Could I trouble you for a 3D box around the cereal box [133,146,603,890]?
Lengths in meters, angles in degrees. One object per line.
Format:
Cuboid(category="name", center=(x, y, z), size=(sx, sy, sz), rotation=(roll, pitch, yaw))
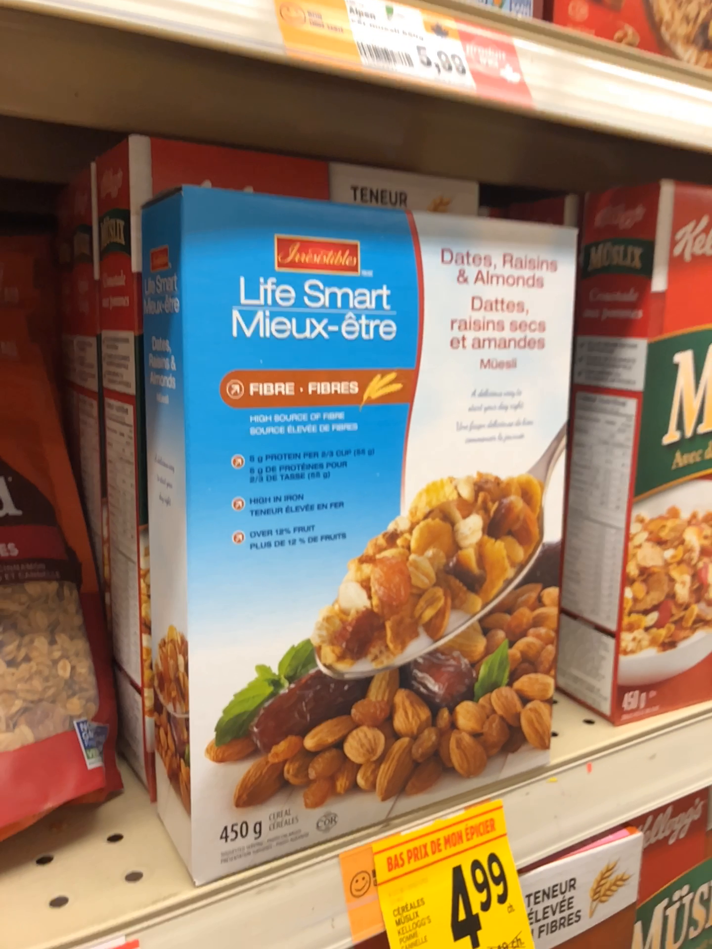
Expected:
Cuboid(category="cereal box", center=(0.007, 0.013, 0.312), size=(0.170, 0.239, 0.050), rotation=(-4, 12, -29))
